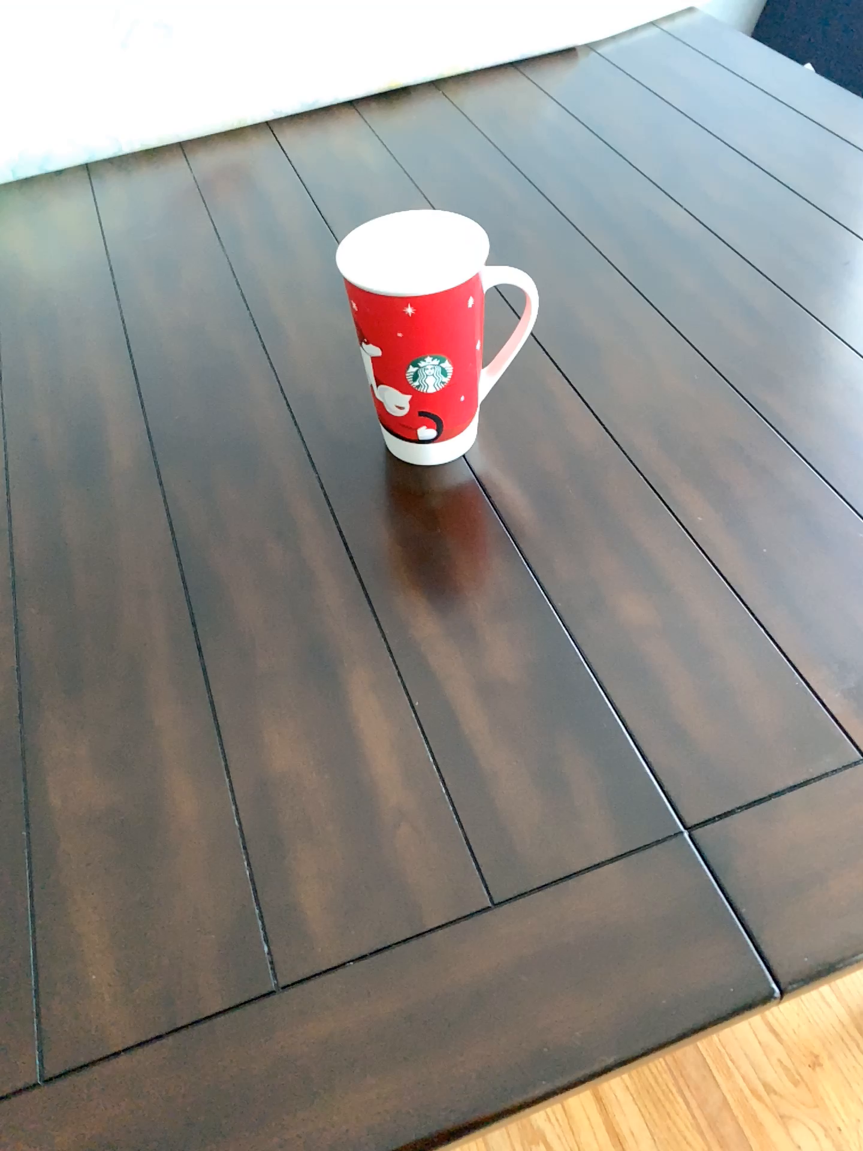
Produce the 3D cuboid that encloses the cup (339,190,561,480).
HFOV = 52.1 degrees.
[{"bbox_3d":[0.013,-0.147,0.559,0.120,0.149,0.080,-4,49,1],"label":"cup"}]
